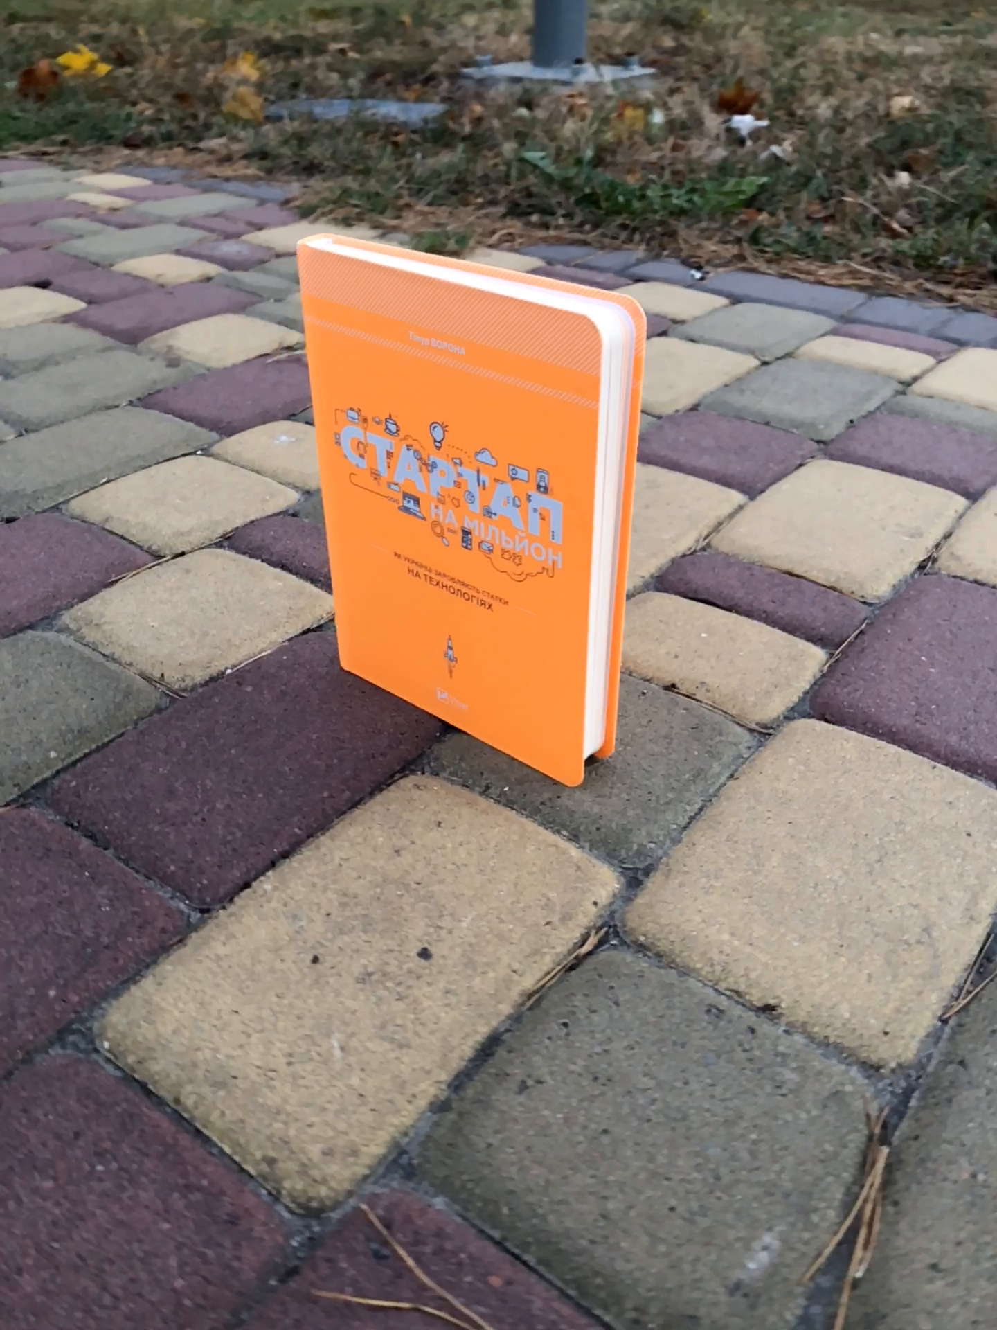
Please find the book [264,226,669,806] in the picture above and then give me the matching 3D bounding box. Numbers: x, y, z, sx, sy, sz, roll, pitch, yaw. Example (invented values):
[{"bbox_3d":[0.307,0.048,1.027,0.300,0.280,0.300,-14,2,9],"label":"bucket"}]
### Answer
[{"bbox_3d":[-0.018,-0.063,0.459,0.164,0.200,0.040,25,41,32],"label":"book"}]
